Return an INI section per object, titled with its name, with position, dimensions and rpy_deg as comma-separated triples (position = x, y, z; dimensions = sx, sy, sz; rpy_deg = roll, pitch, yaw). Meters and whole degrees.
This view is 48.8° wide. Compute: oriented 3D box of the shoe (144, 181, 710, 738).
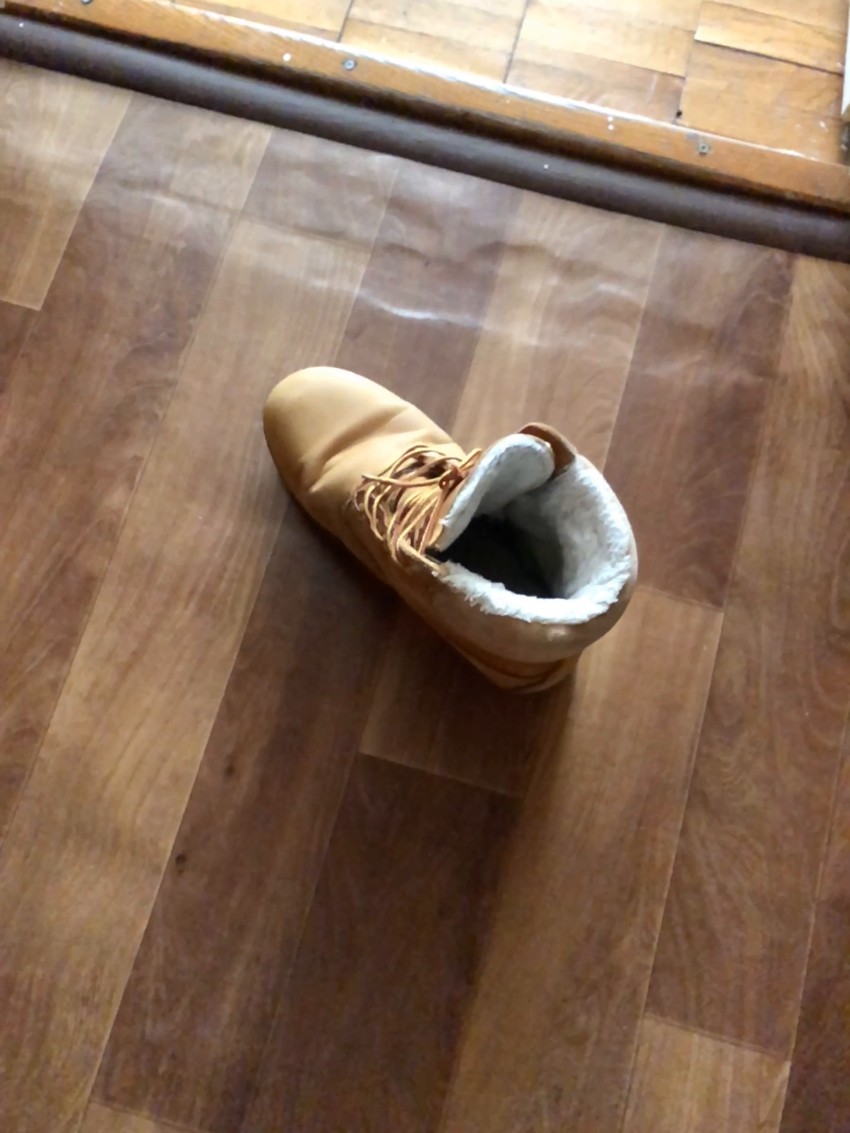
[shoe]
position = -0.004, -0.049, 0.566
dimensions = 0.120, 0.180, 0.290
rpy_deg = -44, 81, -11
